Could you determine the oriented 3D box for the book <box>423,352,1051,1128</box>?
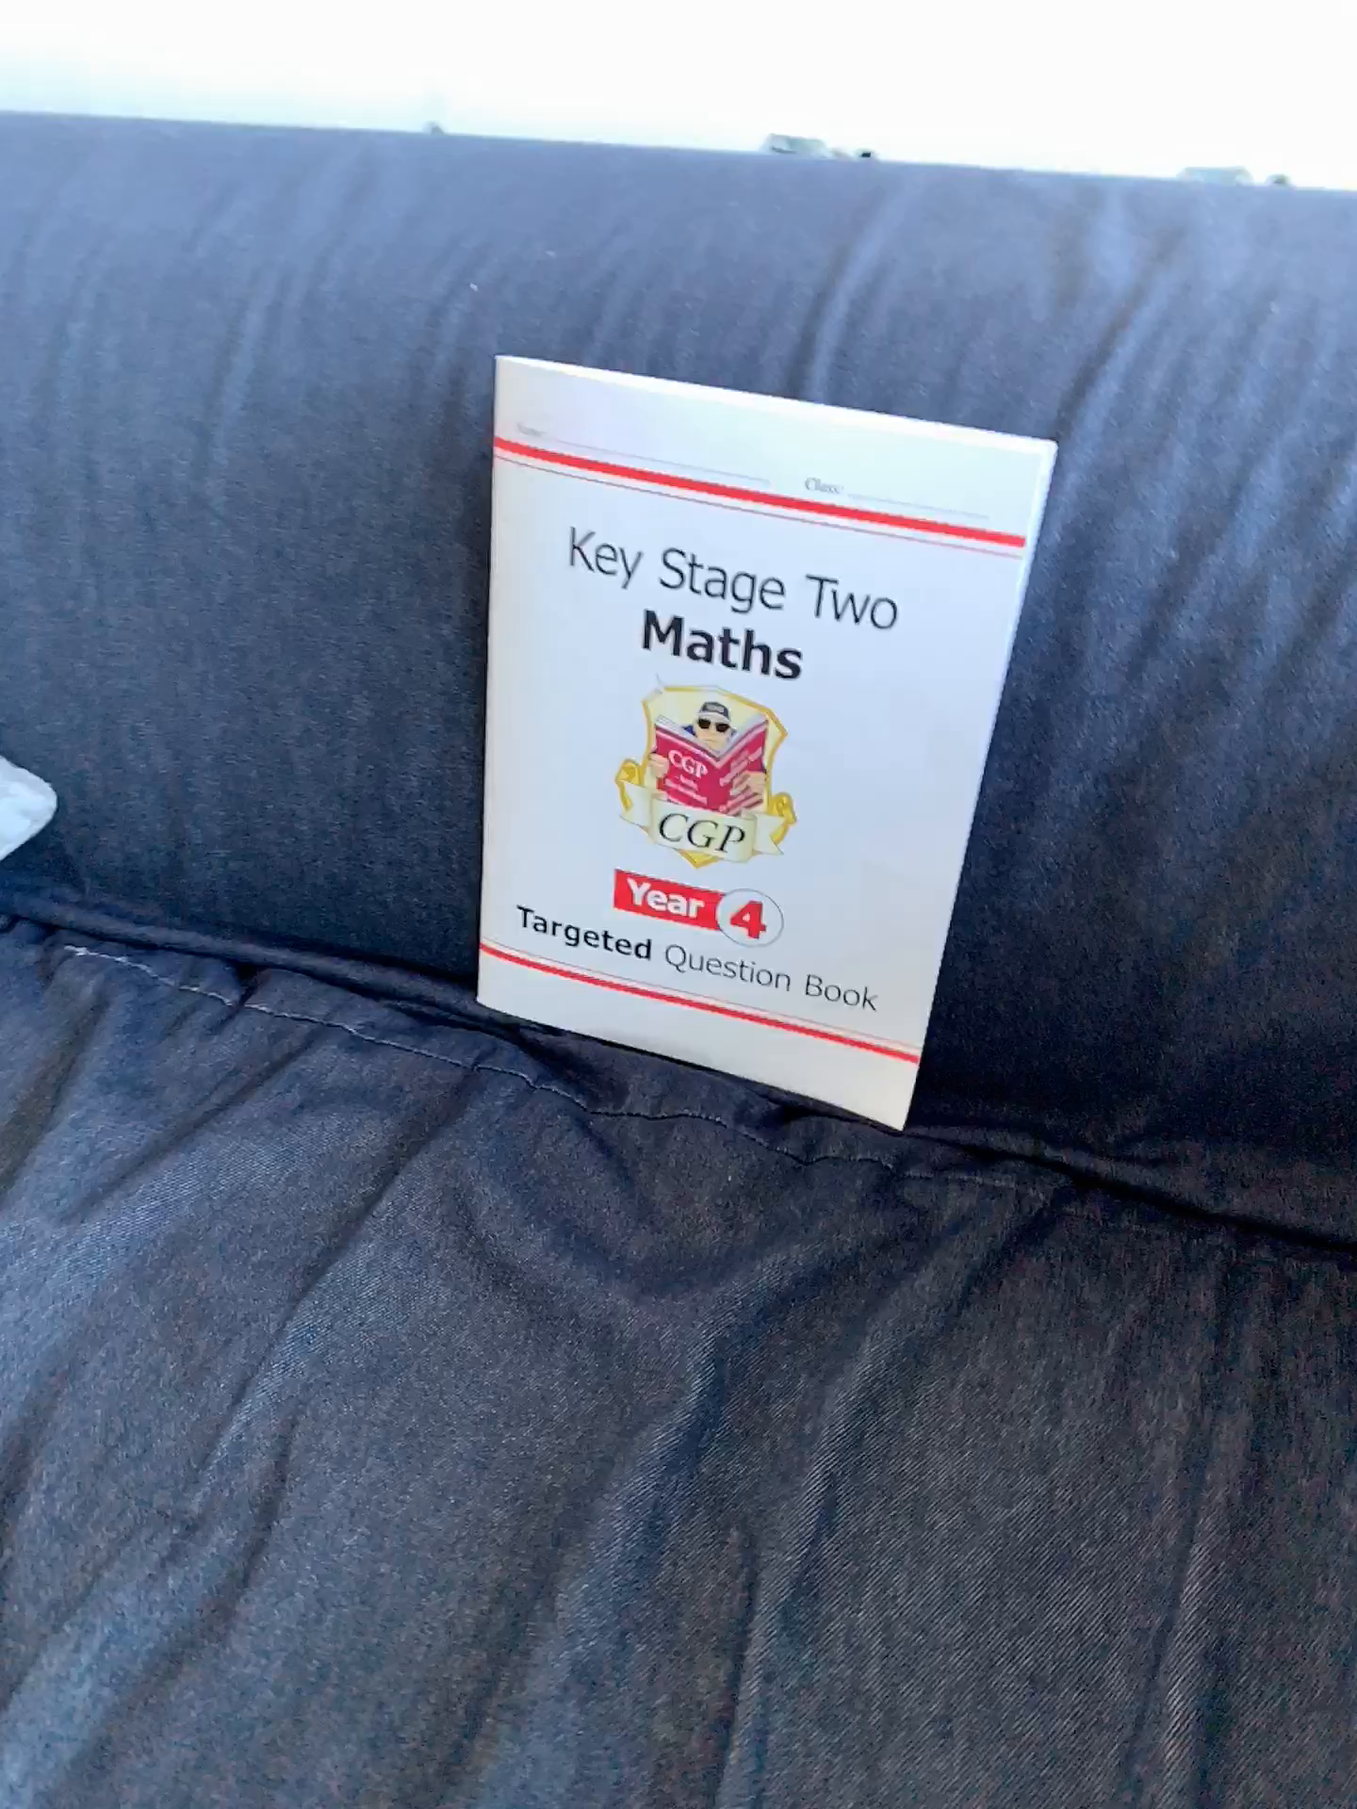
[{"bbox_3d":[0.007,-0.062,0.547,0.220,0.266,0.030,14,25,17],"label":"book"}]
